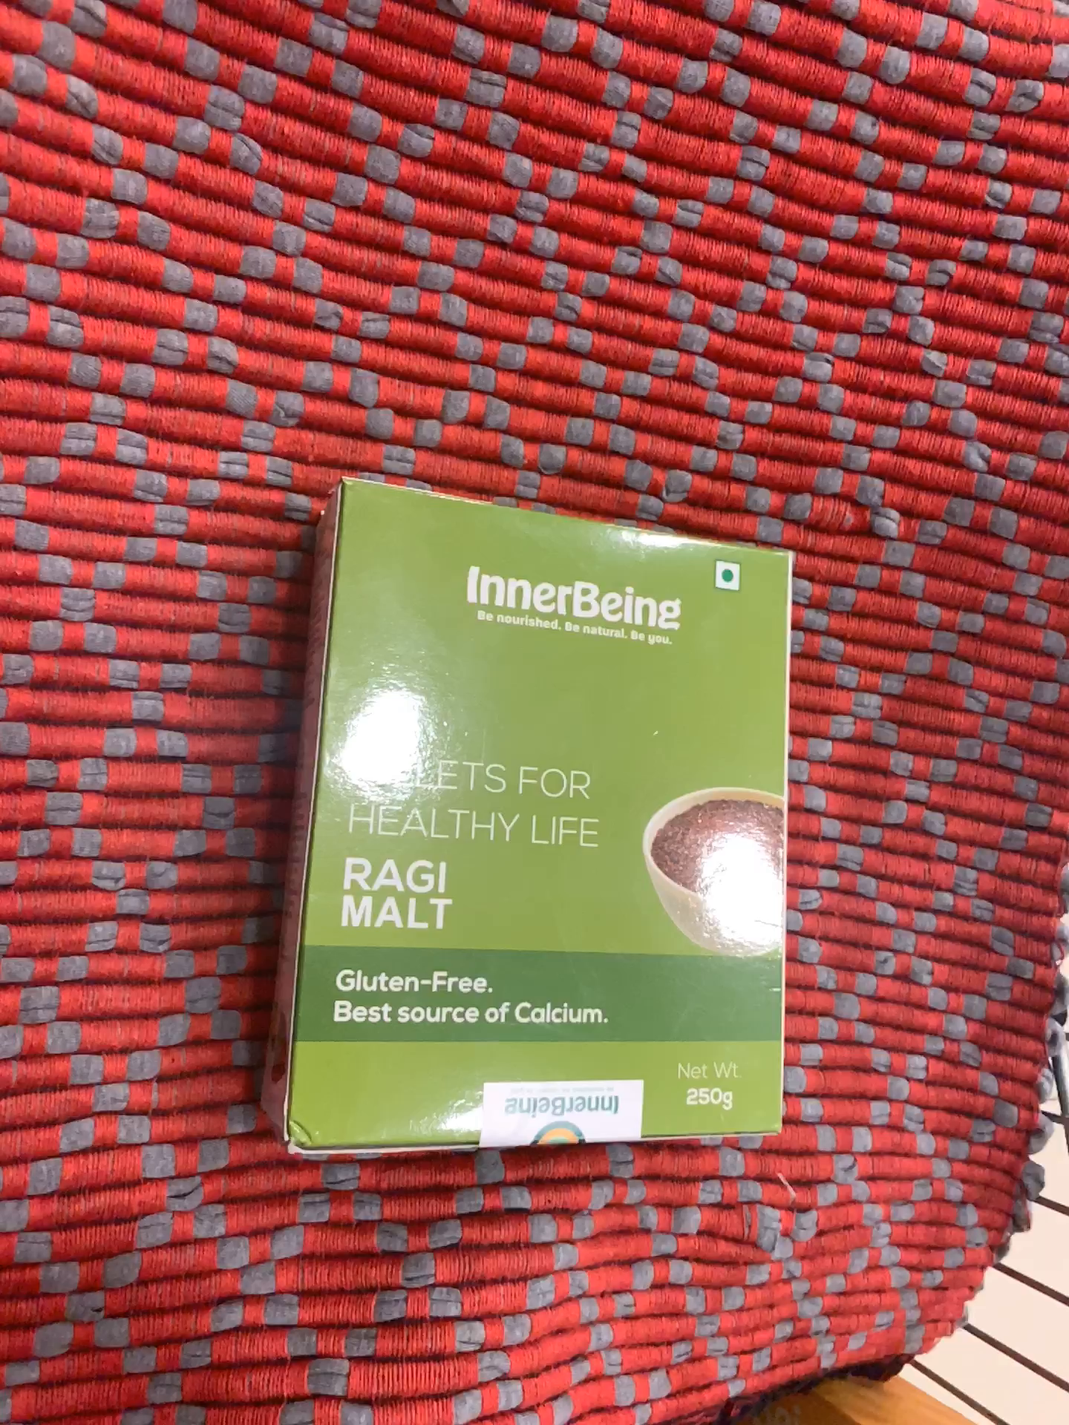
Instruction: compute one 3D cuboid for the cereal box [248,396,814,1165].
[{"bbox_3d":[0.002,0.020,0.288,0.130,0.050,0.170,6,80,-19],"label":"cereal box"}]
